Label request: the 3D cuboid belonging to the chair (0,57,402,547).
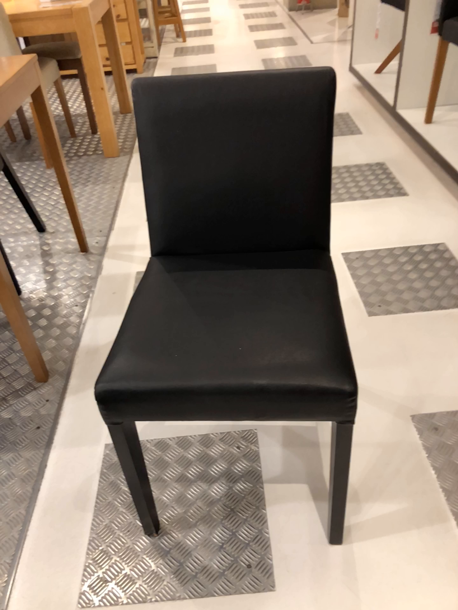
[{"bbox_3d":[0.008,0.013,1.046,0.470,0.824,0.554,0,38,6],"label":"chair"}]
